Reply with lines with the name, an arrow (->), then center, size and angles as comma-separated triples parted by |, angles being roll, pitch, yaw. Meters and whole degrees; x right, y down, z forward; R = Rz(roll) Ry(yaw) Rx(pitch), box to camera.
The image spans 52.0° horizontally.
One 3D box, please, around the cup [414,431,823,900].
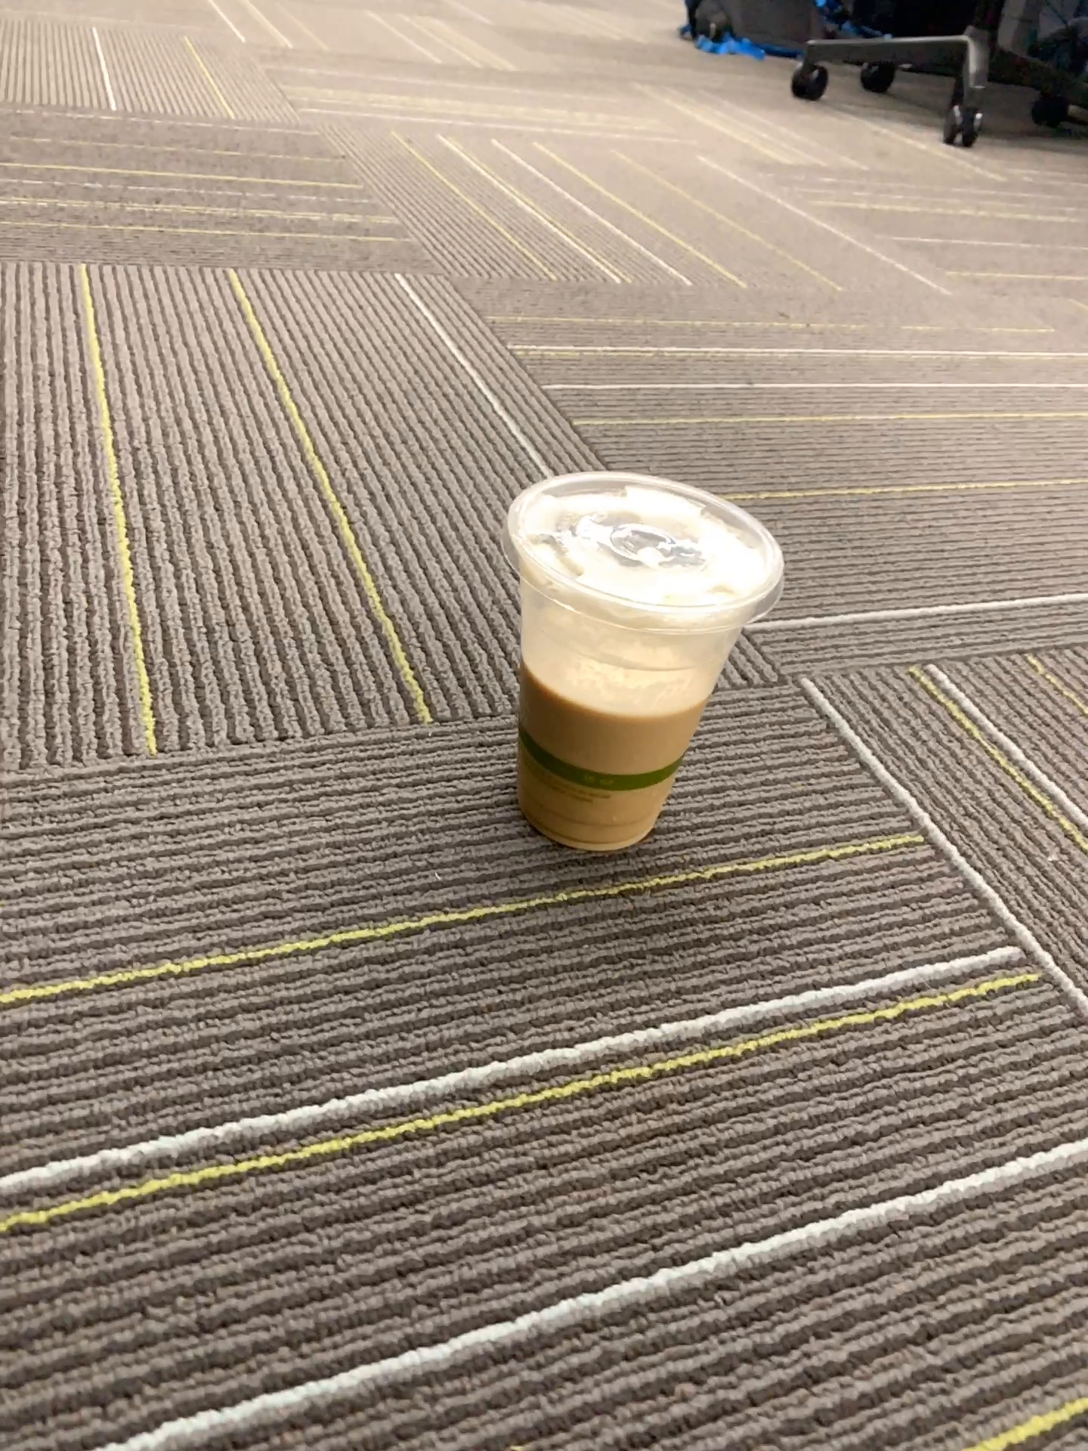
cup -> 0.025, -0.026, 0.407 | 0.100, 0.109, 0.100 | 6, 37, -5
